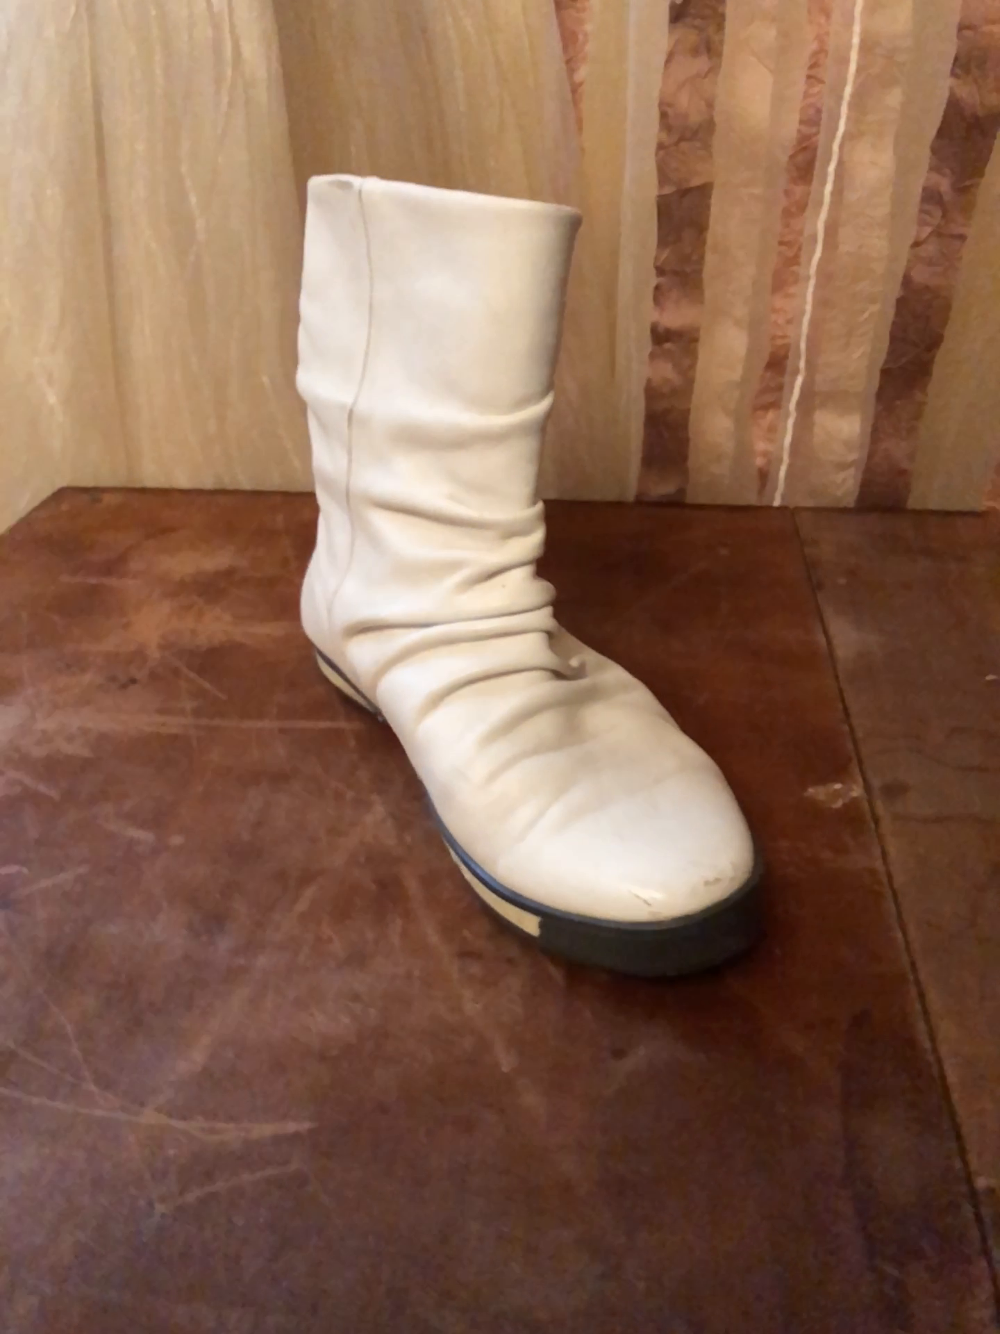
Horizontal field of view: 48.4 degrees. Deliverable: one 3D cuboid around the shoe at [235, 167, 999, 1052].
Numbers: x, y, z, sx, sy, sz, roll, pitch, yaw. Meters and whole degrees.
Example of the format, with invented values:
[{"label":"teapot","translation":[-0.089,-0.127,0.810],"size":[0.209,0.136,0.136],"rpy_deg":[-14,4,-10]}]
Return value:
[{"label":"shoe","translation":[0.007,-0.045,0.335],"size":[0.090,0.169,0.241],"rpy_deg":[-14,32,-23]}]
